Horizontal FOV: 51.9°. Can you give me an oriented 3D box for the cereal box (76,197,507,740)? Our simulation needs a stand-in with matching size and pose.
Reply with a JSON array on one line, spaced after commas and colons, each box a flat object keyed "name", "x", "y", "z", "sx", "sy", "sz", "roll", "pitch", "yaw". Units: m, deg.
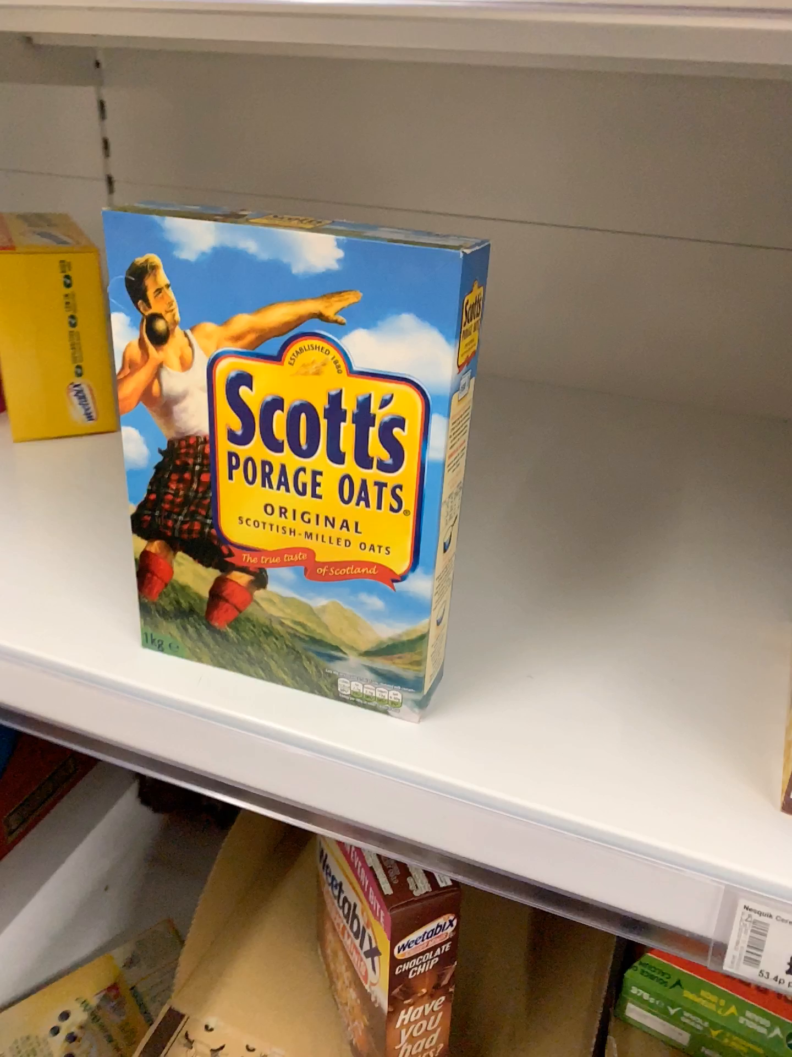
[{"name": "cereal box", "x": -0.058, "y": -0.033, "z": 0.462, "sx": 0.200, "sy": 0.268, "sz": 0.071, "roll": 12, "pitch": 28, "yaw": 16}]
